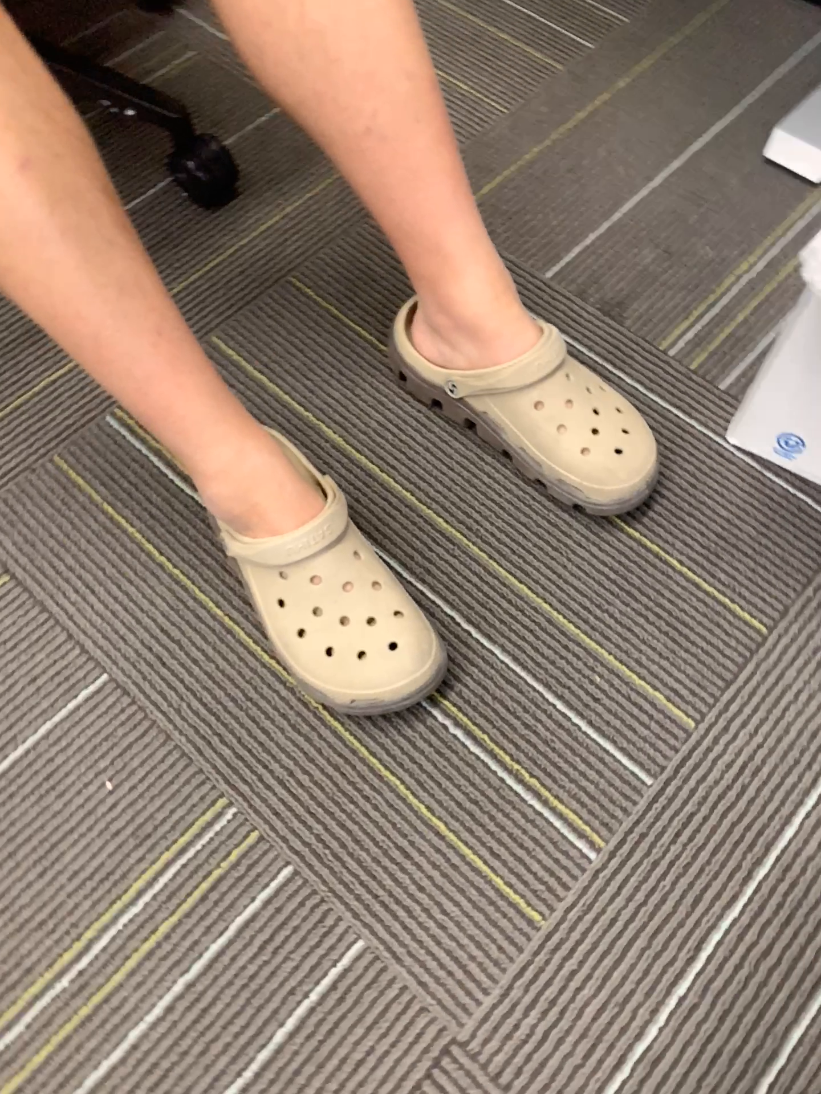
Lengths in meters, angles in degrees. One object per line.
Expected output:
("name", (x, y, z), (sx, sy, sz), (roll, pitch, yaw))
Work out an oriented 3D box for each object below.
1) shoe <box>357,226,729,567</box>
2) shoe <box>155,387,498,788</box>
("shoe", (0.112, -0.151, 0.789), (0.140, 0.080, 0.331), (-39, 70, -17))
("shoe", (-0.077, 0.025, 0.716), (0.134, 0.080, 0.321), (-31, 67, -14))
